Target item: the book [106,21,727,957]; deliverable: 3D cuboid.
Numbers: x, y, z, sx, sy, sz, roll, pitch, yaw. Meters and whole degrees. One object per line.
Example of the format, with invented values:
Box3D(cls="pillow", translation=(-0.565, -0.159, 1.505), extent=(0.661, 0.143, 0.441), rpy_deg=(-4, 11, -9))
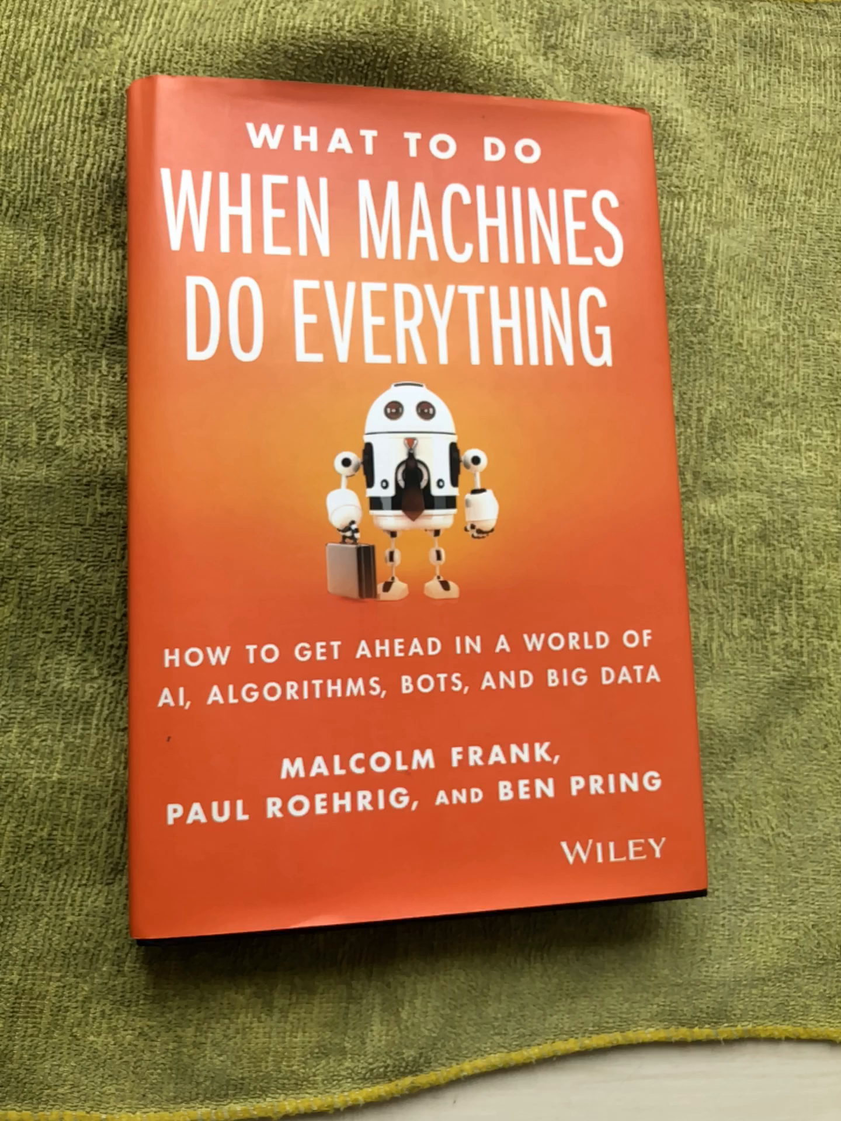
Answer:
Box3D(cls="book", translation=(-0.004, -0.024, 0.273), extent=(0.160, 0.040, 0.240), rpy_deg=(-1, 83, -11))
